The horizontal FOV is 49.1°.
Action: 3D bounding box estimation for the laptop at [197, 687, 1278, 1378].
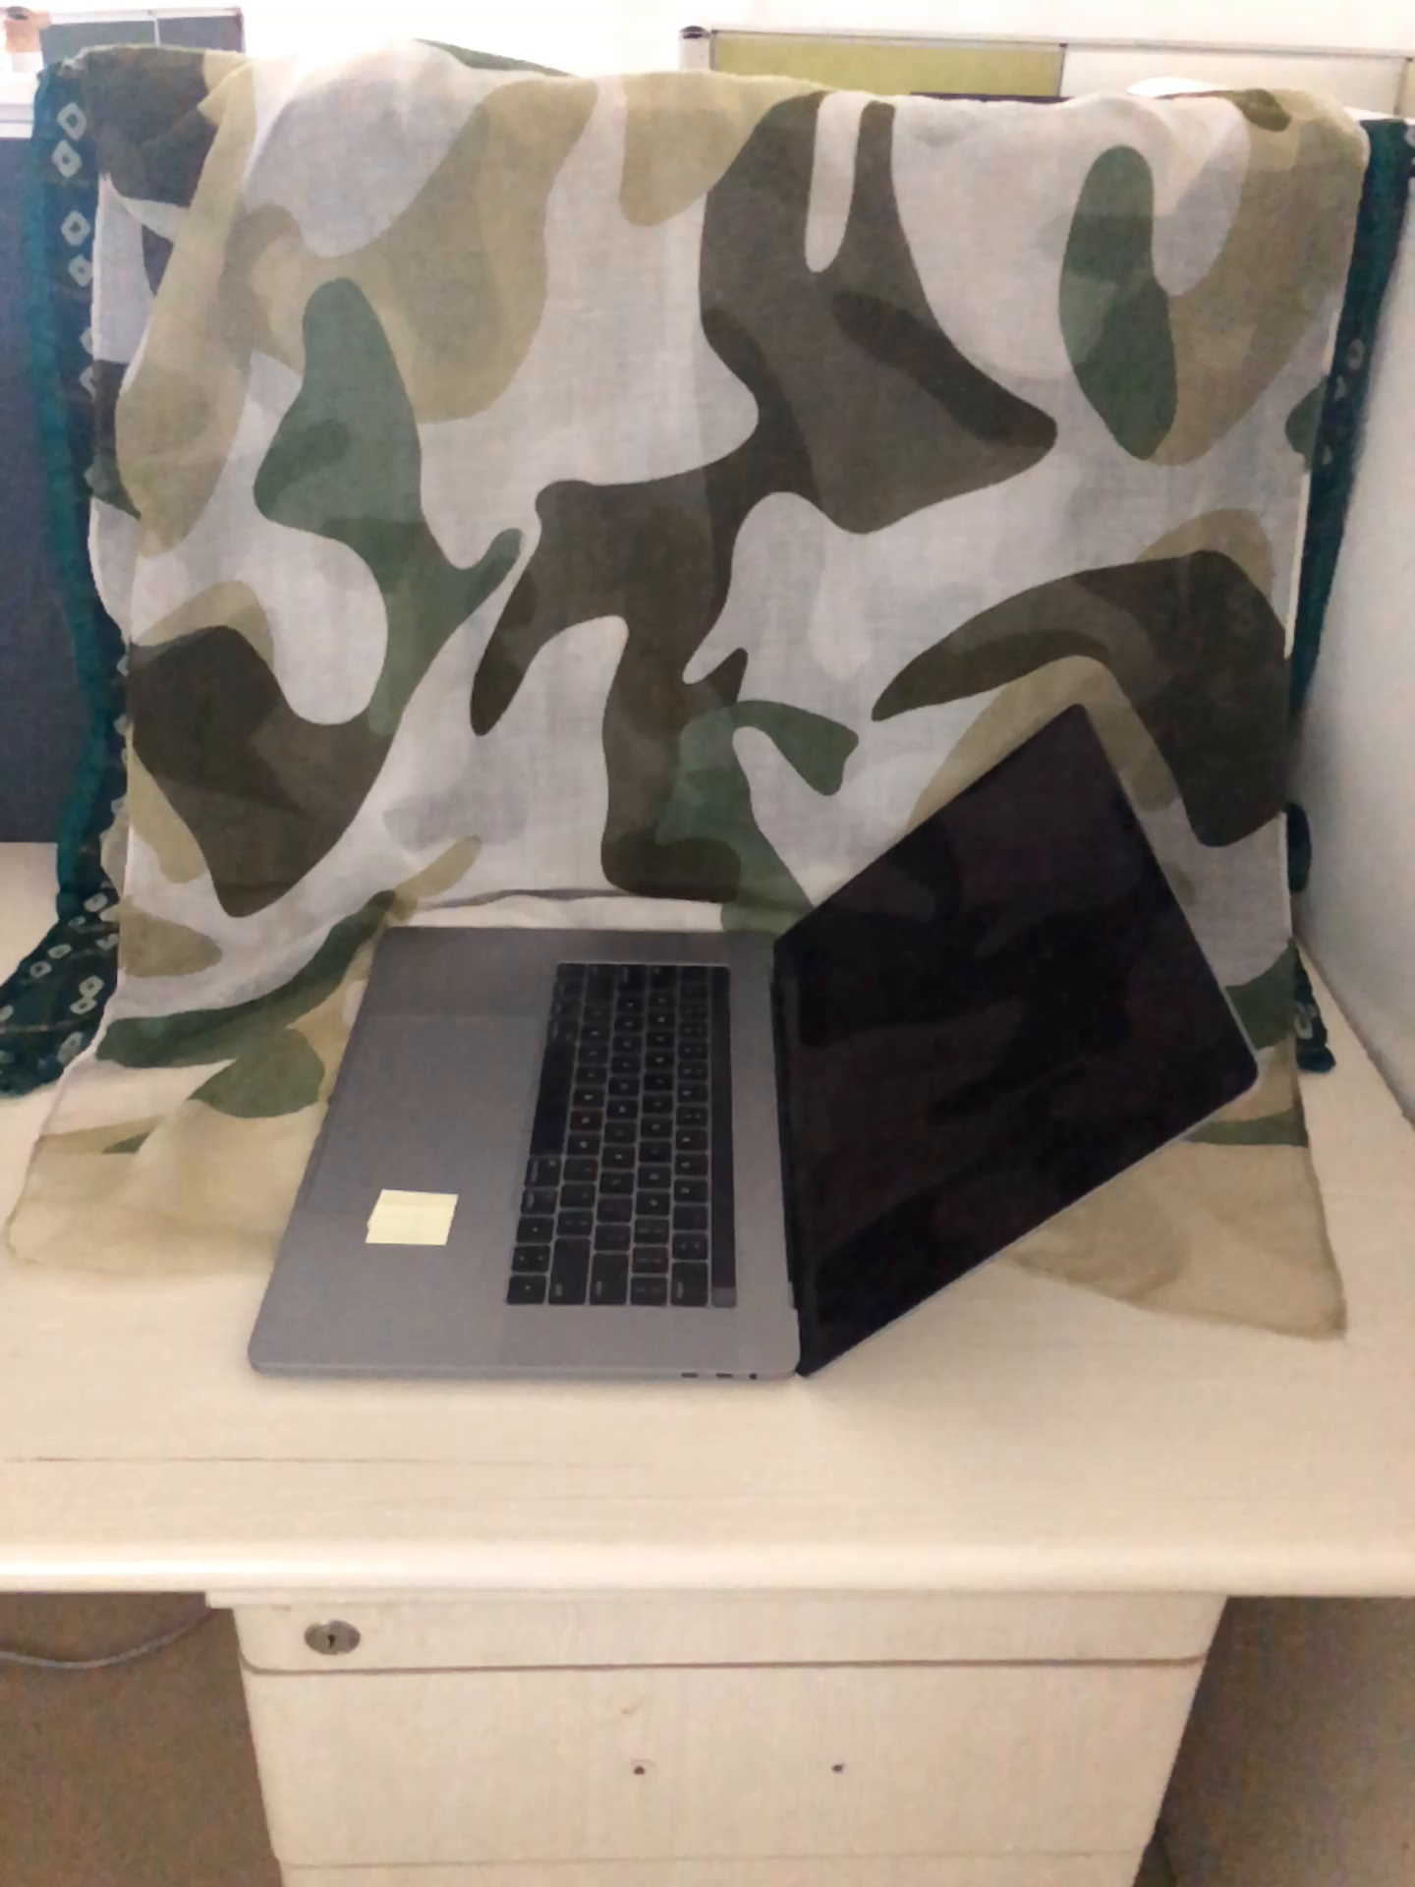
[{"bbox_3d":[0.007,0.021,0.765,0.402,0.165,0.343,1,31,0],"label":"laptop"}]
